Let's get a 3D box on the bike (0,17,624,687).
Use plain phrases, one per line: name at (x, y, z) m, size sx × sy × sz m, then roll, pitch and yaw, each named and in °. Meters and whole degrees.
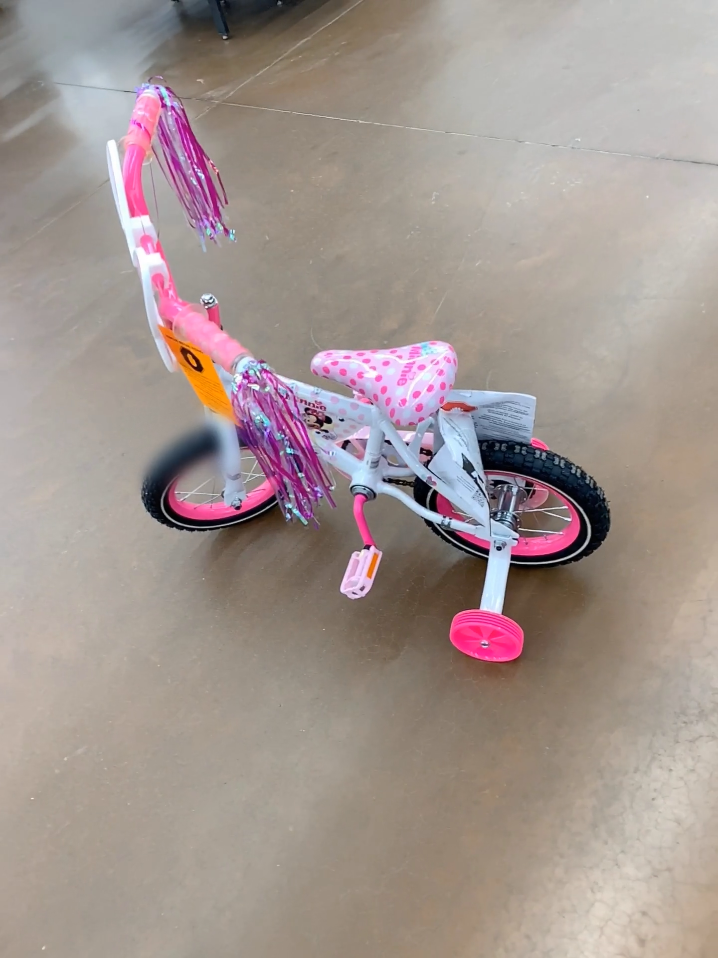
bike at (-0.040, -0.125, 1.039) m, size 0.725 × 0.648 × 0.502 m, roll 0°, pitch 50°, yaw 20°
